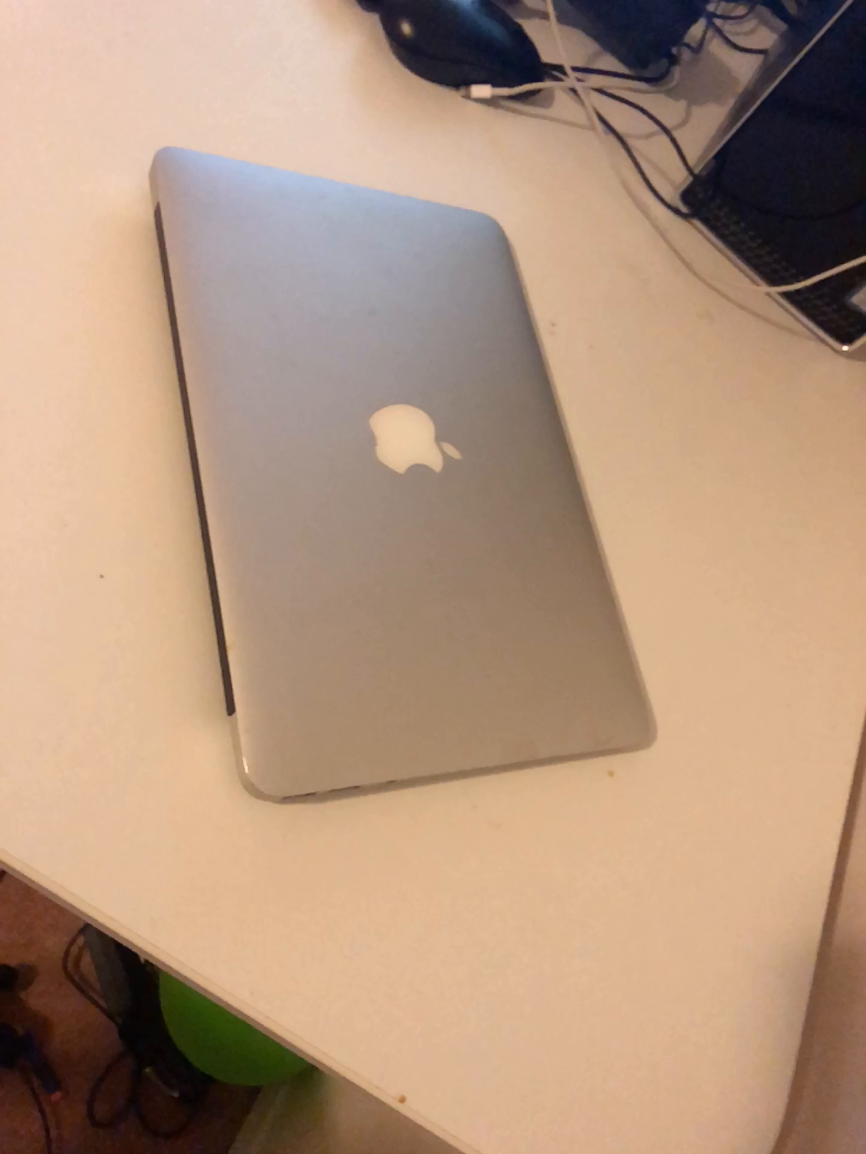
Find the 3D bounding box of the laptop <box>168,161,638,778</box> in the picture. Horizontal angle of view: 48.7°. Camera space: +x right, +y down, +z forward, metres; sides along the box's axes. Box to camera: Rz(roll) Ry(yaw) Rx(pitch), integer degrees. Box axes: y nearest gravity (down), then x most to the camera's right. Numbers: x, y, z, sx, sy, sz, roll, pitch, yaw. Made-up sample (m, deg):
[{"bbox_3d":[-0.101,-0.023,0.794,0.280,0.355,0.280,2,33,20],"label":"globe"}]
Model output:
[{"bbox_3d":[-0.015,-0.061,0.445,0.178,0.004,0.291,-1,68,-30],"label":"laptop"}]
